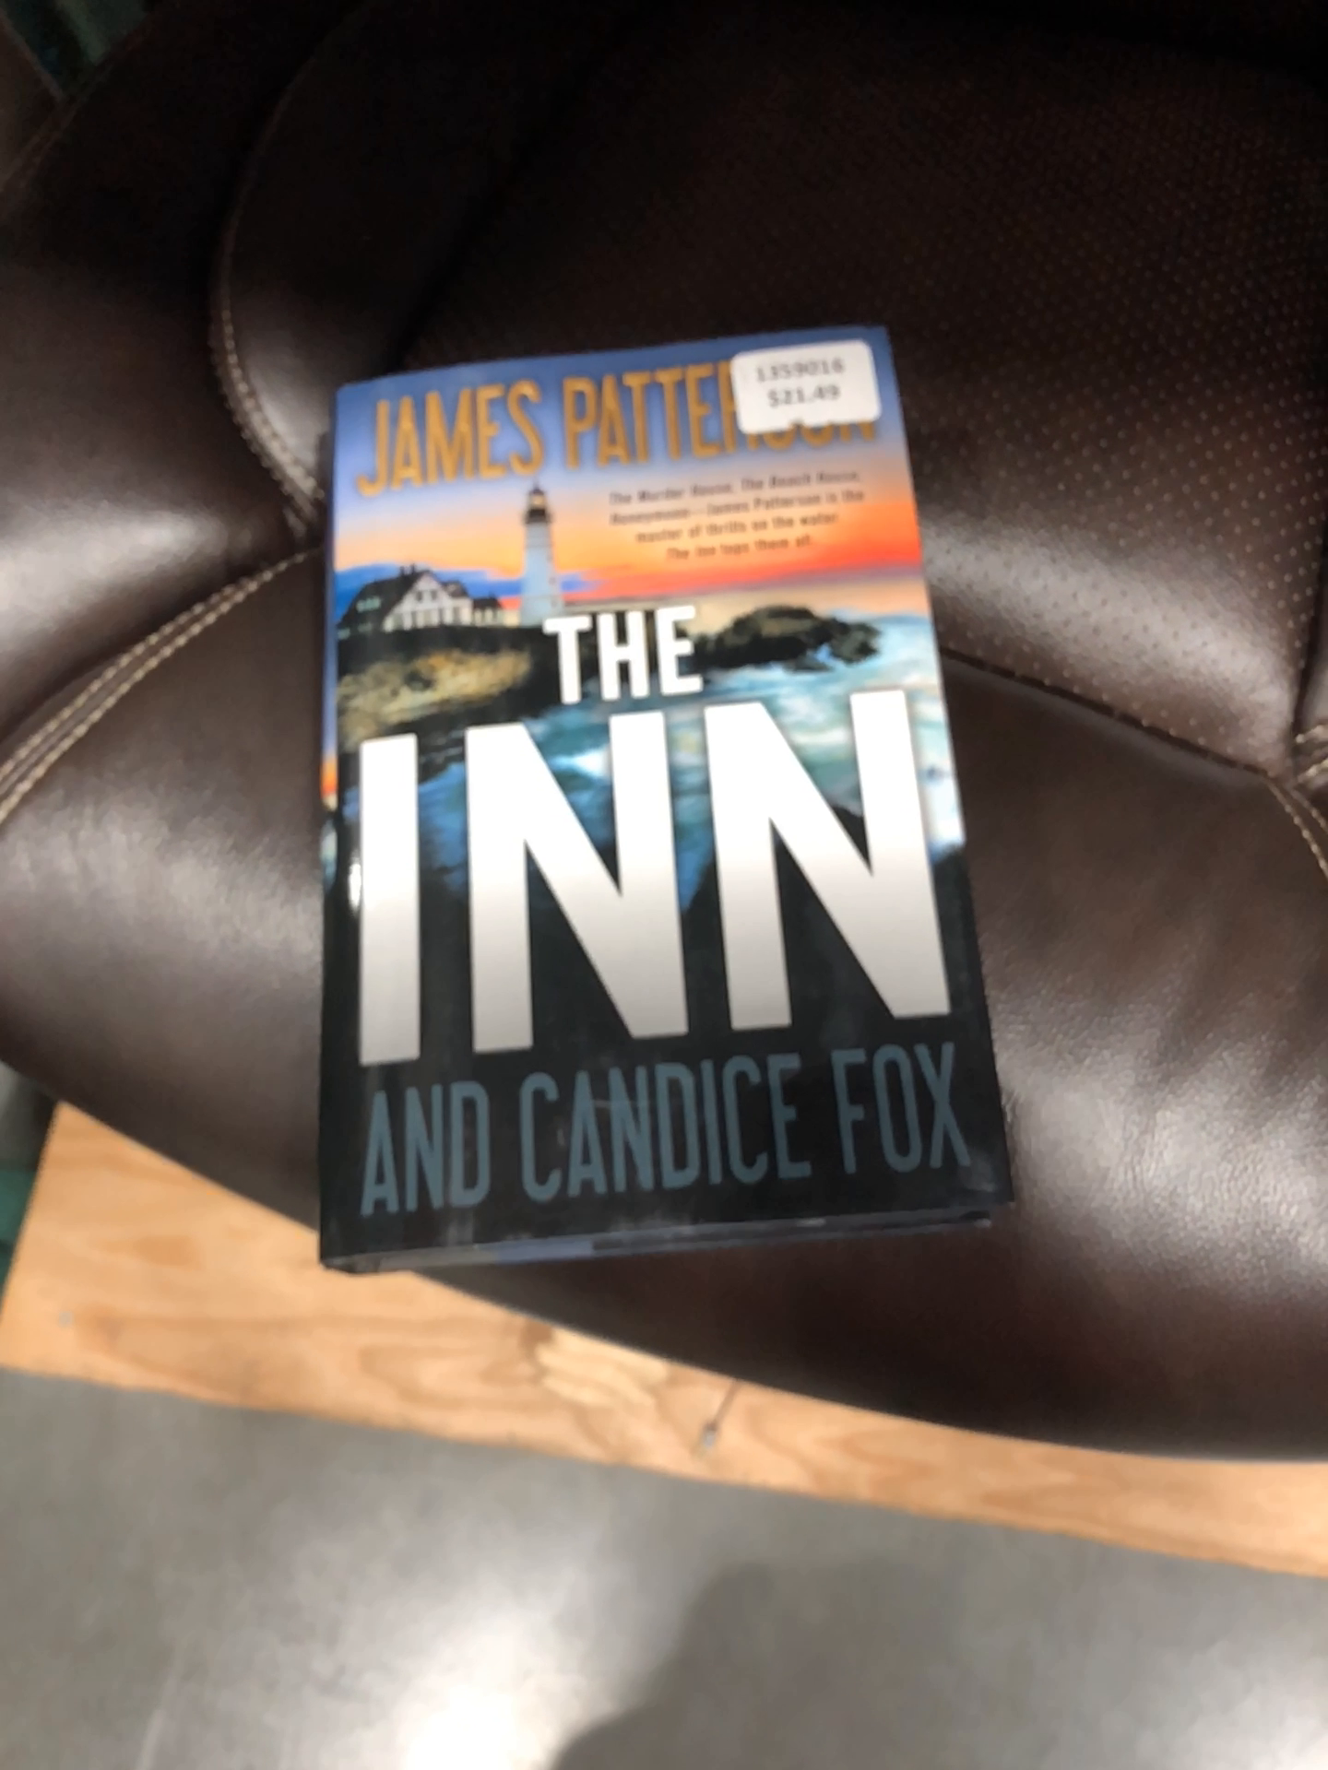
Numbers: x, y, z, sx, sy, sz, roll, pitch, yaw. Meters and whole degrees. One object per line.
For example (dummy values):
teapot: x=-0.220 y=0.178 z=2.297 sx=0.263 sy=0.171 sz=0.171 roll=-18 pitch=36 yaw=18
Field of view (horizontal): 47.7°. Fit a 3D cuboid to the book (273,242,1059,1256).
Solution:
book: x=-0.007 y=-0.041 z=0.385 sx=0.170 sy=0.040 sz=0.250 roll=-5 pitch=70 yaw=4
